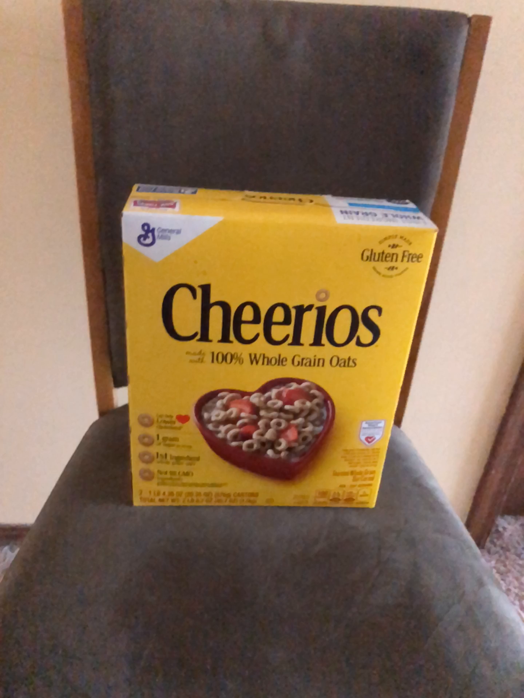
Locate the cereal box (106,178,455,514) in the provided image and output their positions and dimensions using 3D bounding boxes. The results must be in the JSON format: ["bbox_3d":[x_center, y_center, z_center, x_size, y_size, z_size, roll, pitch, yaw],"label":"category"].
[{"bbox_3d":[0.004,0.011,0.543,0.260,0.299,0.090,2,30,-5],"label":"cereal box"}]
